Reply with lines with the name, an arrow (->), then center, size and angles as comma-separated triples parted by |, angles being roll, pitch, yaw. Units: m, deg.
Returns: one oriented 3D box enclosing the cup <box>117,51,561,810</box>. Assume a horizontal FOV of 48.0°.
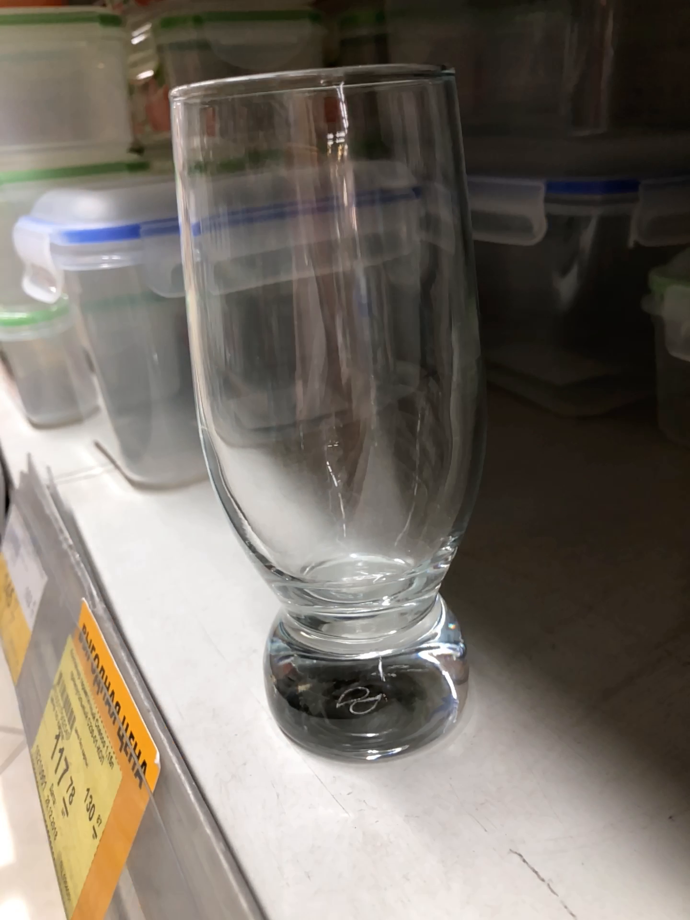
cup -> 0.001, -0.007, 0.178 | 0.069, 0.146, 0.057 | -14, 25, -19
